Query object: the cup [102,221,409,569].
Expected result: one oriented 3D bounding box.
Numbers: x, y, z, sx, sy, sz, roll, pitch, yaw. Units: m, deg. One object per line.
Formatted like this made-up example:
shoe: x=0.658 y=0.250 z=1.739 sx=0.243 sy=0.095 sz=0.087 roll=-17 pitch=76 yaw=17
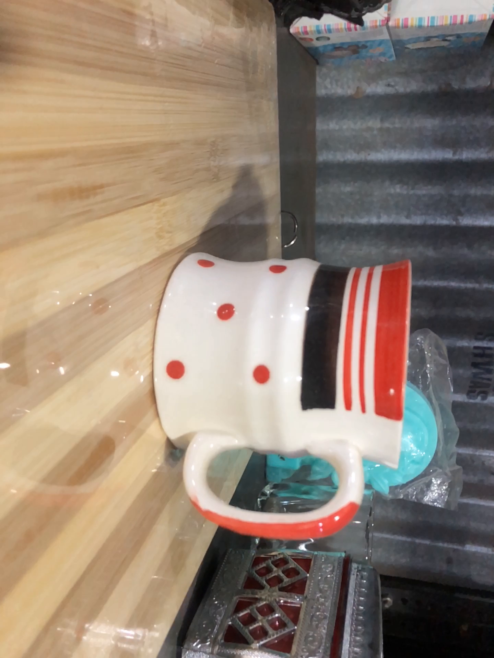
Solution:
cup: x=0.016 y=0.031 z=0.229 sx=0.100 sy=0.090 sz=0.110 roll=3 pitch=90 yaw=-76
